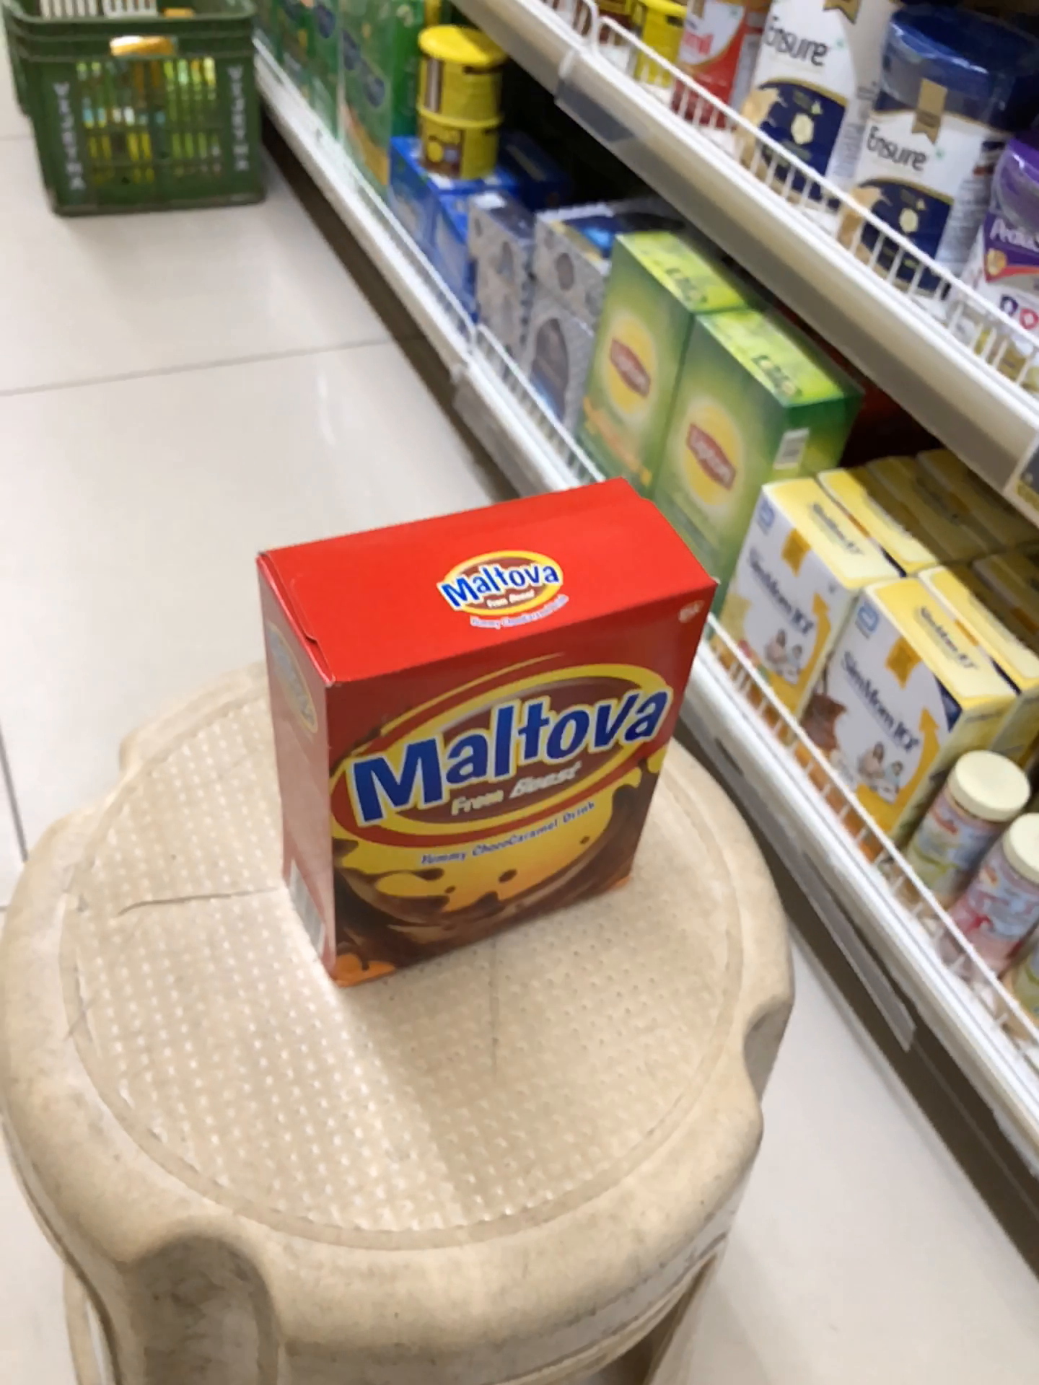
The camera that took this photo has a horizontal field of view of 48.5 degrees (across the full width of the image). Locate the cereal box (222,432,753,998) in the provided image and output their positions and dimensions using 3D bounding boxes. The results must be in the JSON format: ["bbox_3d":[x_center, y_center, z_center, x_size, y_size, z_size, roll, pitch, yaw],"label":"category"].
[{"bbox_3d":[-0.018,0.012,0.423,0.150,0.179,0.070,-16,51,-22],"label":"cereal box"}]
